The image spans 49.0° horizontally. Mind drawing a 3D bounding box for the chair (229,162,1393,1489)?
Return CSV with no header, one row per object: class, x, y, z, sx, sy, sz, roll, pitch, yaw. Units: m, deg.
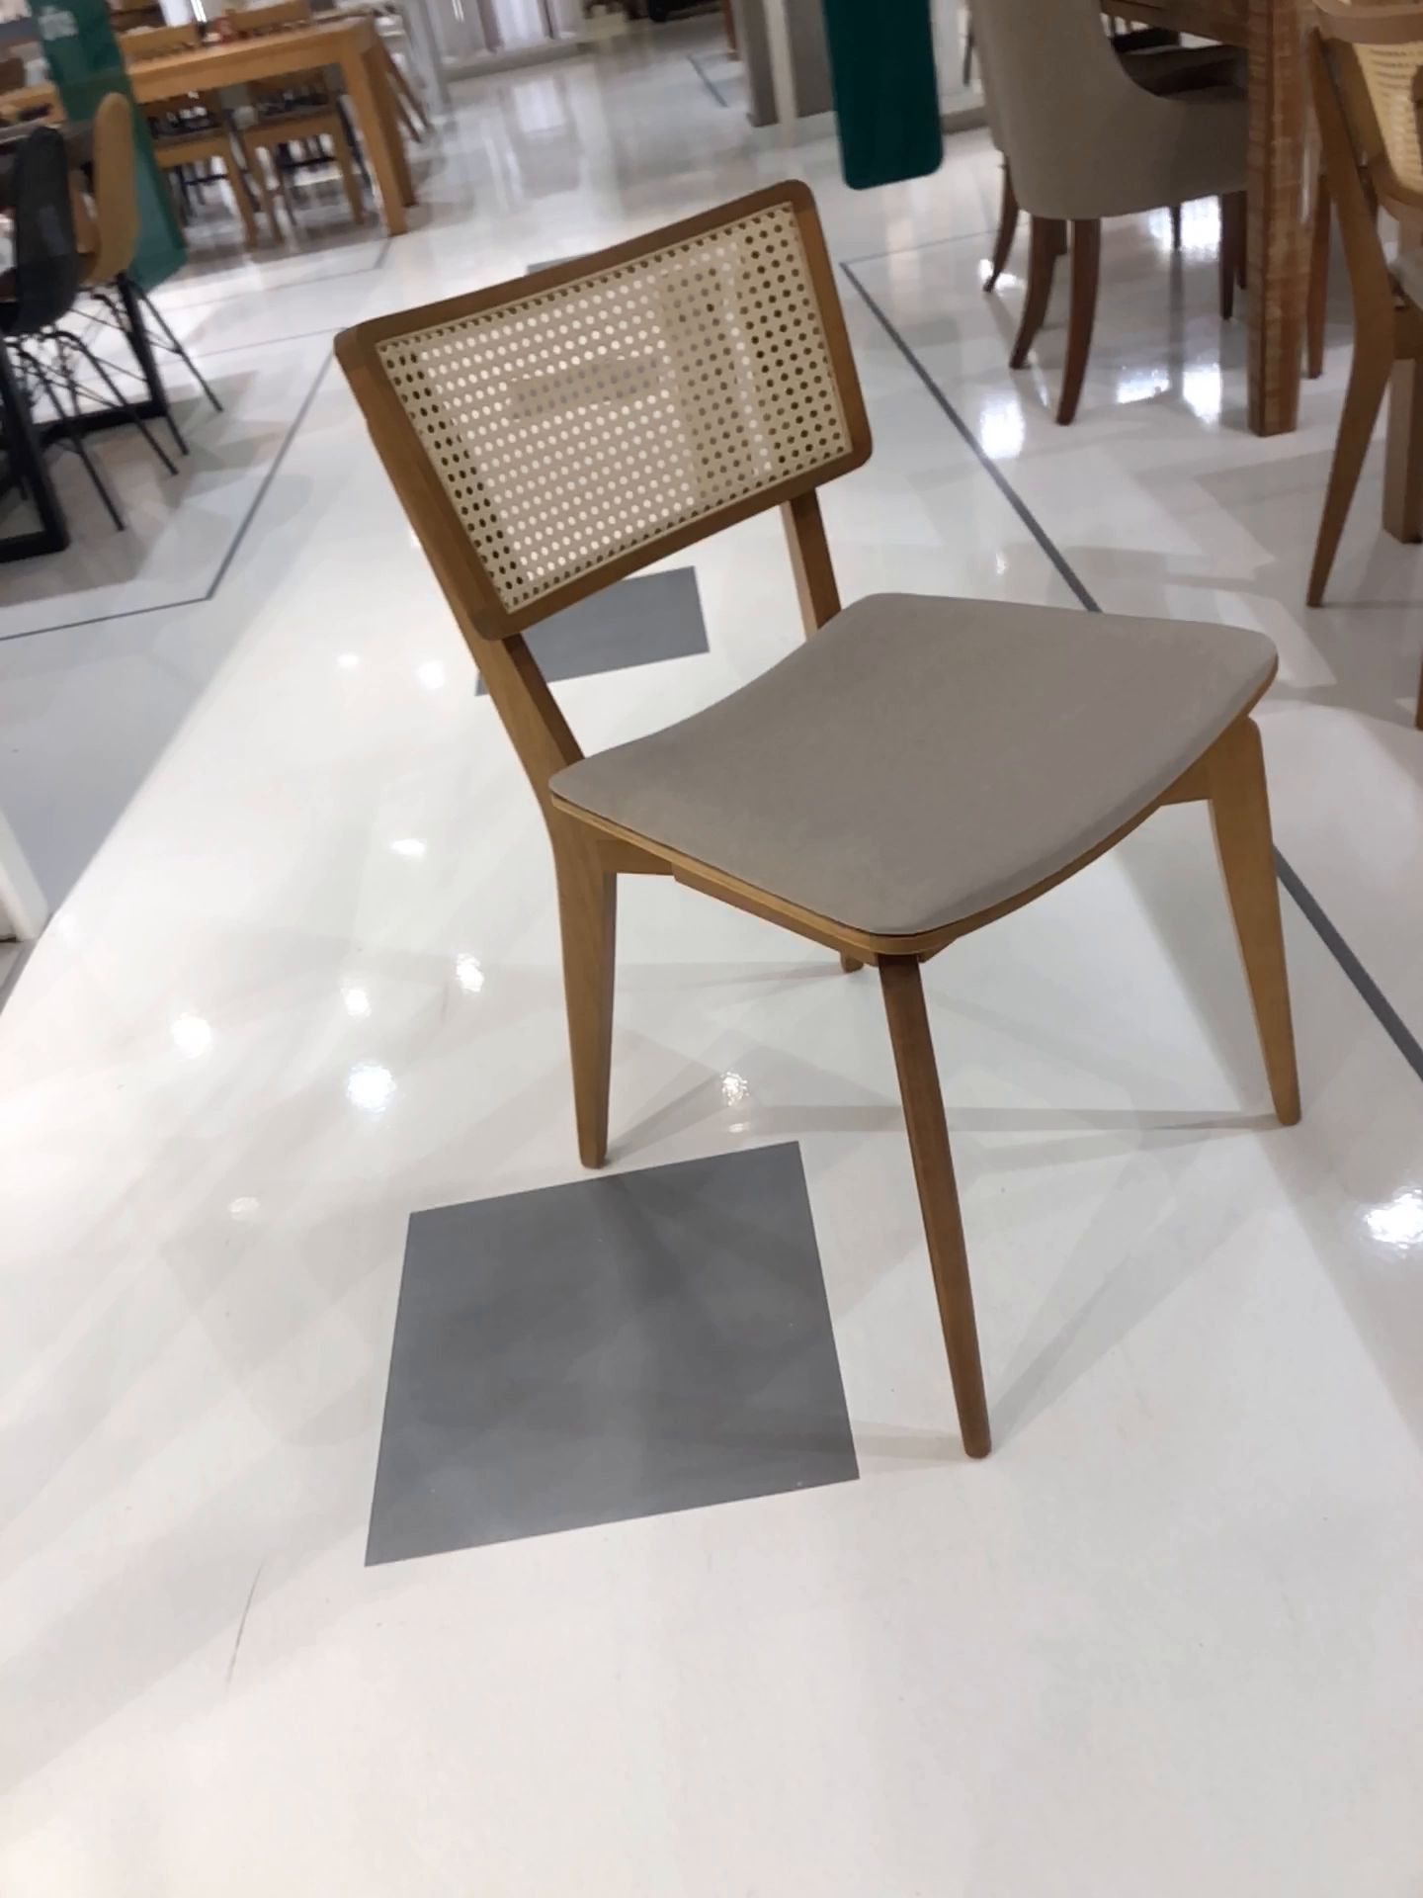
chair,0.112,-0.146,1.294,0.542,0.794,0.603,-34,39,-30
